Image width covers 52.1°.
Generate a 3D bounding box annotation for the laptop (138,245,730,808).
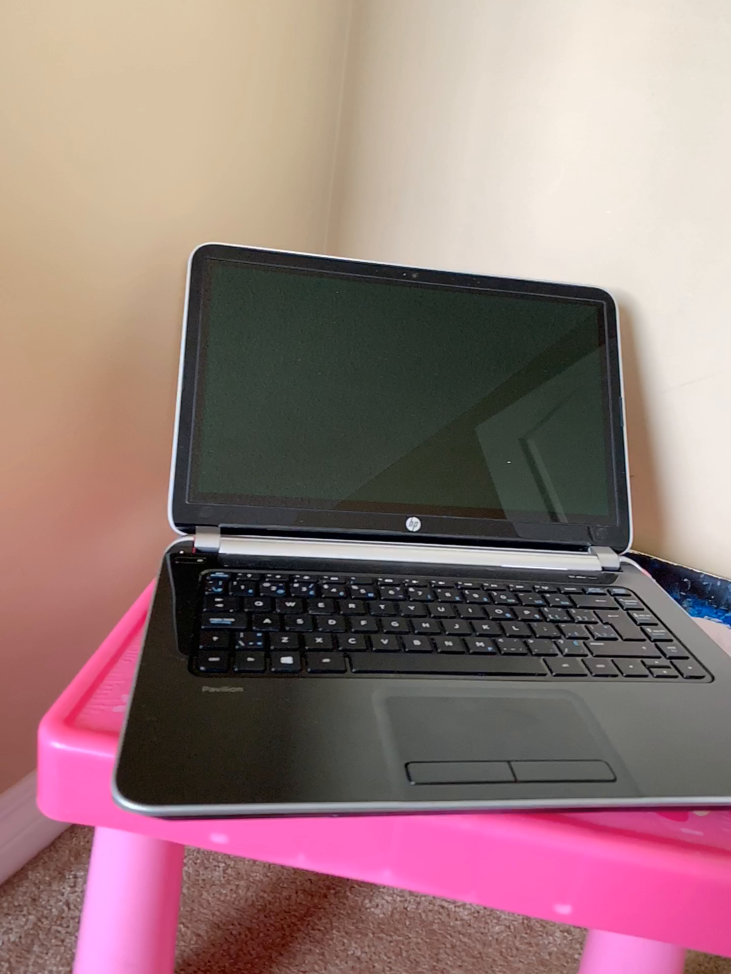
[{"bbox_3d":[0.045,-0.010,0.384,0.274,0.161,0.272,3,23,-11],"label":"laptop"}]
